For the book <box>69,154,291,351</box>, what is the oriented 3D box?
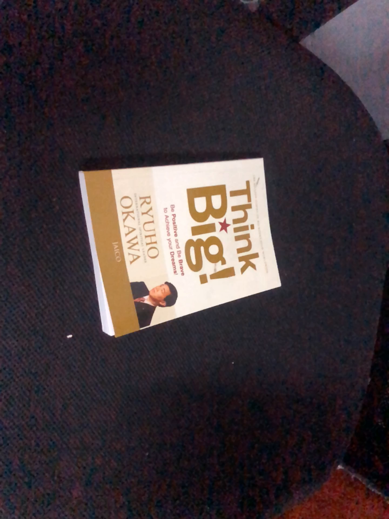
[{"bbox_3d":[0.000,-0.016,0.376,0.191,0.026,0.137,-12,98,-32],"label":"book"}]
